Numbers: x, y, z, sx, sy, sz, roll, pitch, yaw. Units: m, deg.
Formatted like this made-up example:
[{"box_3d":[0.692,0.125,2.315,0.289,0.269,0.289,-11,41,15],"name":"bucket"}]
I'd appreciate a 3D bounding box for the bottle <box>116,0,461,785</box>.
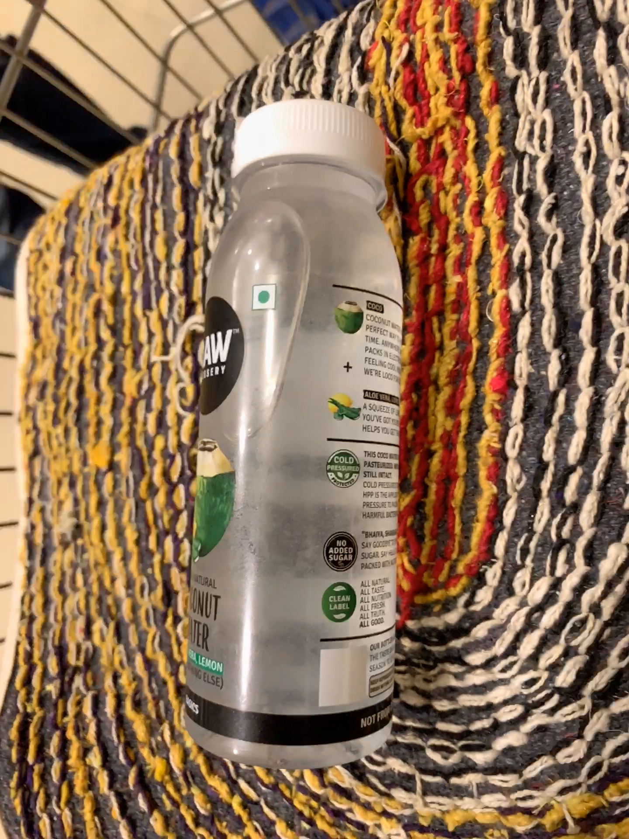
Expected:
[{"box_3d":[-0.007,-0.005,0.164,0.060,0.050,0.150,-6,78,55],"name":"bottle"}]
